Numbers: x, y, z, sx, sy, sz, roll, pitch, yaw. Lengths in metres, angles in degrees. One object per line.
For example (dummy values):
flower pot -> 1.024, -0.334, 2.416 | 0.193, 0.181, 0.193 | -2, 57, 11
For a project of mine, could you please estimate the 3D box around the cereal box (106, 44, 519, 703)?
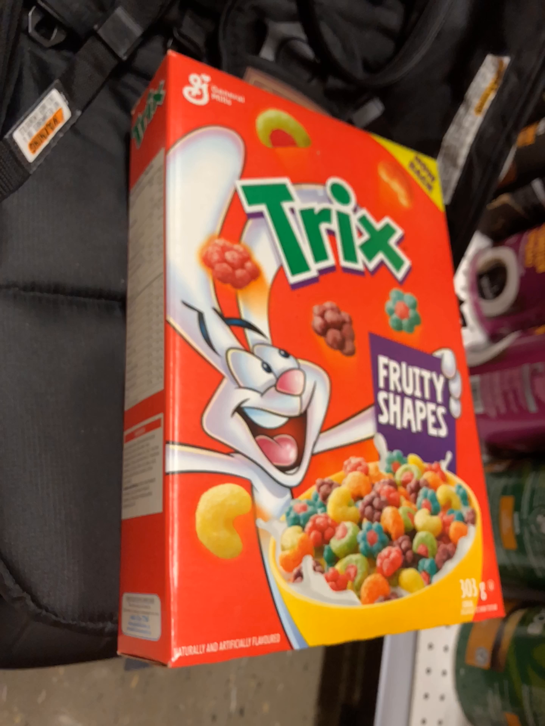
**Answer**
cereal box -> 0.024, 0.003, 0.331 | 0.201, 0.060, 0.280 | 8, 71, -33
